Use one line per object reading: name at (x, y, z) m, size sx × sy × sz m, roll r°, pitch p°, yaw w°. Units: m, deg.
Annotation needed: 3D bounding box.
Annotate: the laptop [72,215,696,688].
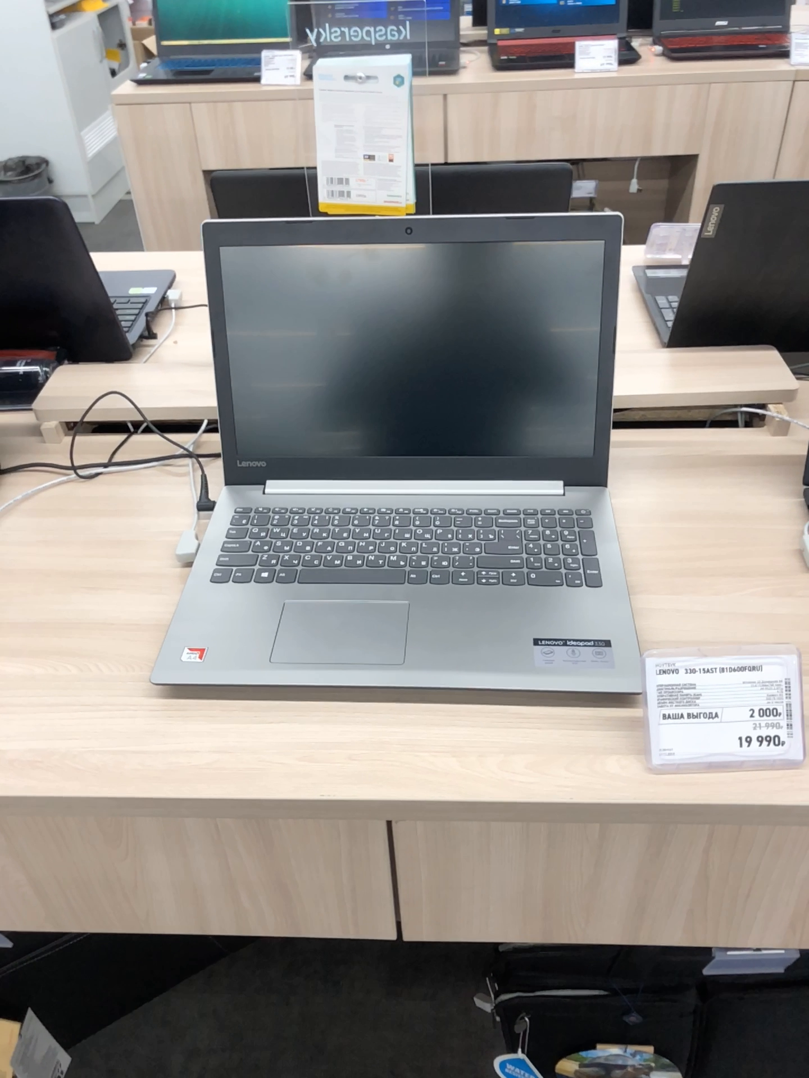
laptop at (-0.001, -0.090, 0.743) m, size 0.380 × 0.235 × 0.345 m, roll 0°, pitch 38°, yaw 4°
